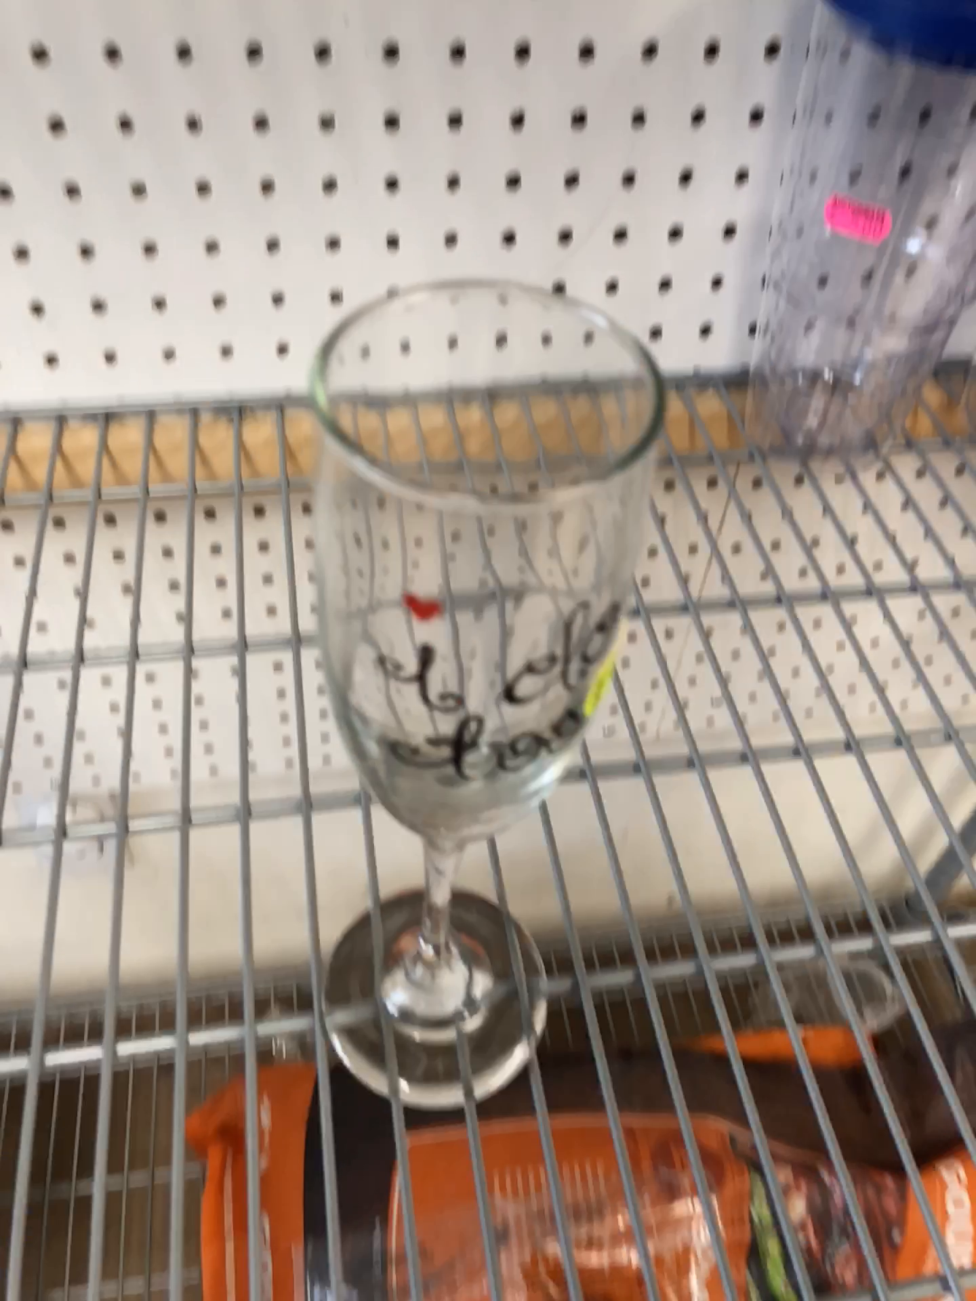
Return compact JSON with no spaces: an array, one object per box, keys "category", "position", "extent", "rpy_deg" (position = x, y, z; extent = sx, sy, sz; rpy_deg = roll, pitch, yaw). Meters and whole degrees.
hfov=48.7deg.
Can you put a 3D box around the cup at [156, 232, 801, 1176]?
[{"category":"cup","position":[-0.012,0.032,0.227],"extent":[0.070,0.210,0.069],"rpy_deg":[3,48,-3]}]
